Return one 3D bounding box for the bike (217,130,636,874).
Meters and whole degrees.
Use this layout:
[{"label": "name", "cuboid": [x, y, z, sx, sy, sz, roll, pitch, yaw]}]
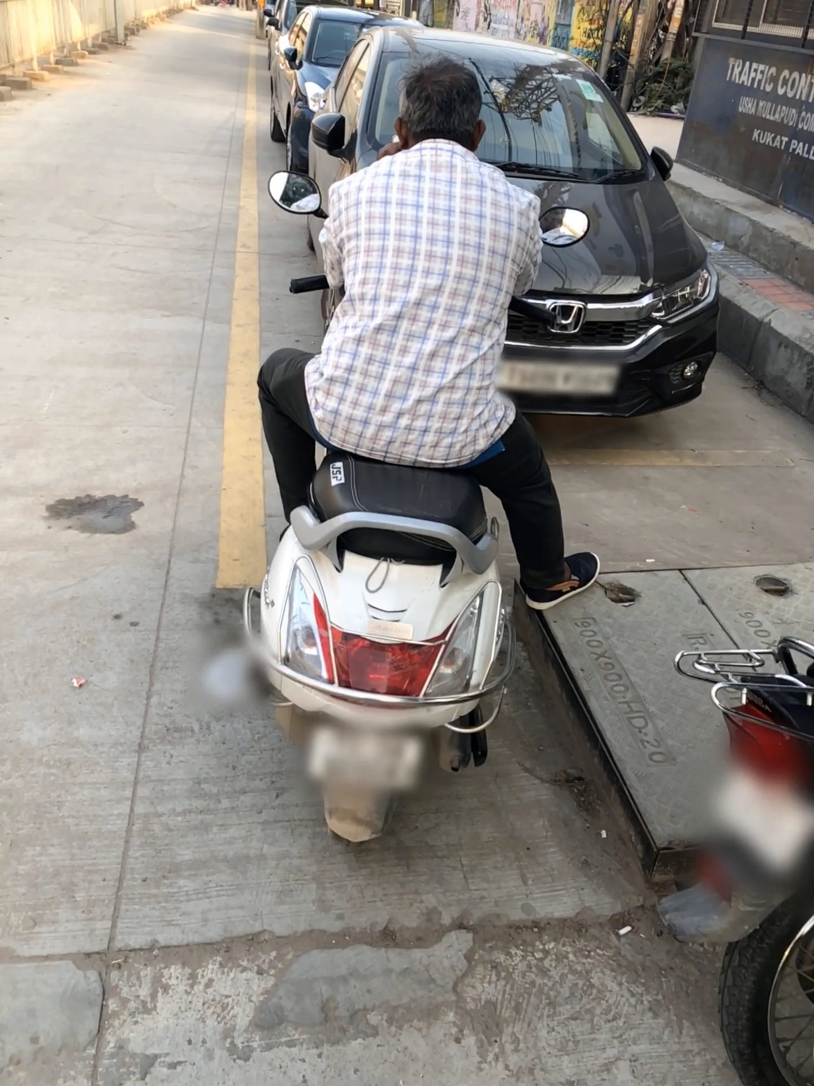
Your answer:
[{"label": "bike", "cuboid": [0.059, -0.254, 2.181, 0.640, 0.858, 1.609, 5, 39, 0]}]
